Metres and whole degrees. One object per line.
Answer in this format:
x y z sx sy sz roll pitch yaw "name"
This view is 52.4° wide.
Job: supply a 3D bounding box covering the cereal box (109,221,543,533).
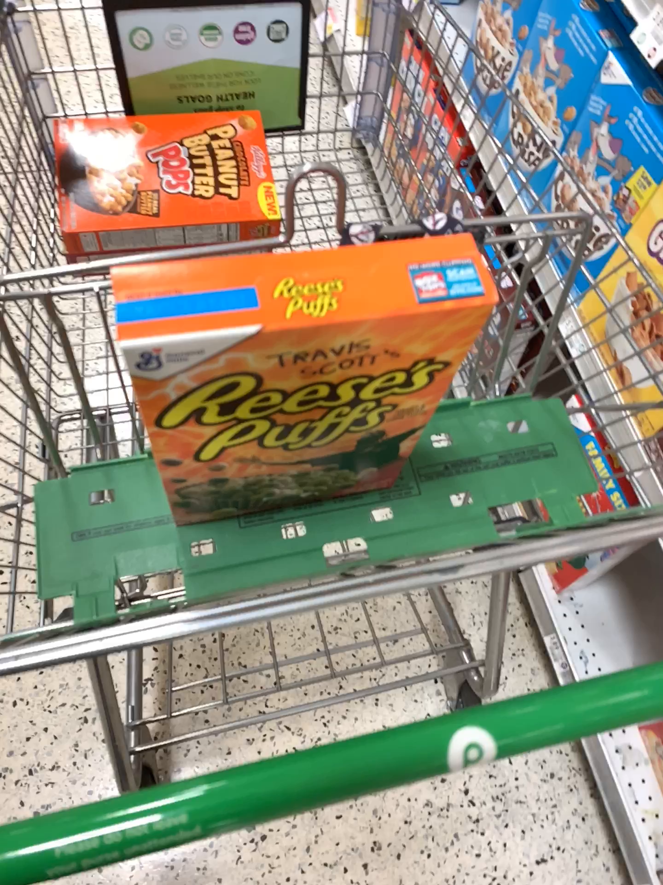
-0.015 -0.022 0.459 0.210 0.278 0.050 -9 66 -11 "cereal box"
